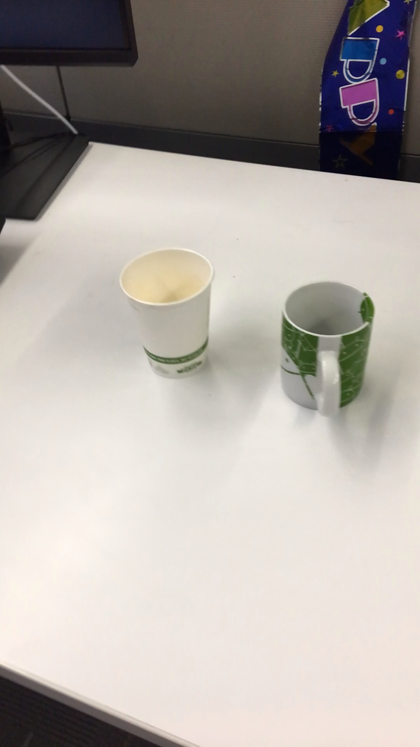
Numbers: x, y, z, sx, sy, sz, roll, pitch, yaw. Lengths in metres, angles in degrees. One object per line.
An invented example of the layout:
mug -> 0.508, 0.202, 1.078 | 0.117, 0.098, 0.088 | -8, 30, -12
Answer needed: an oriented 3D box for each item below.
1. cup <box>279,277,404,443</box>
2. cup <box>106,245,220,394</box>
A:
cup -> 0.110, -0.013, 0.564 | 0.090, 0.090, 0.120 | -1, 45, 4
cup -> -0.039, -0.051, 0.604 | 0.090, 0.110, 0.090 | -2, 45, 2
